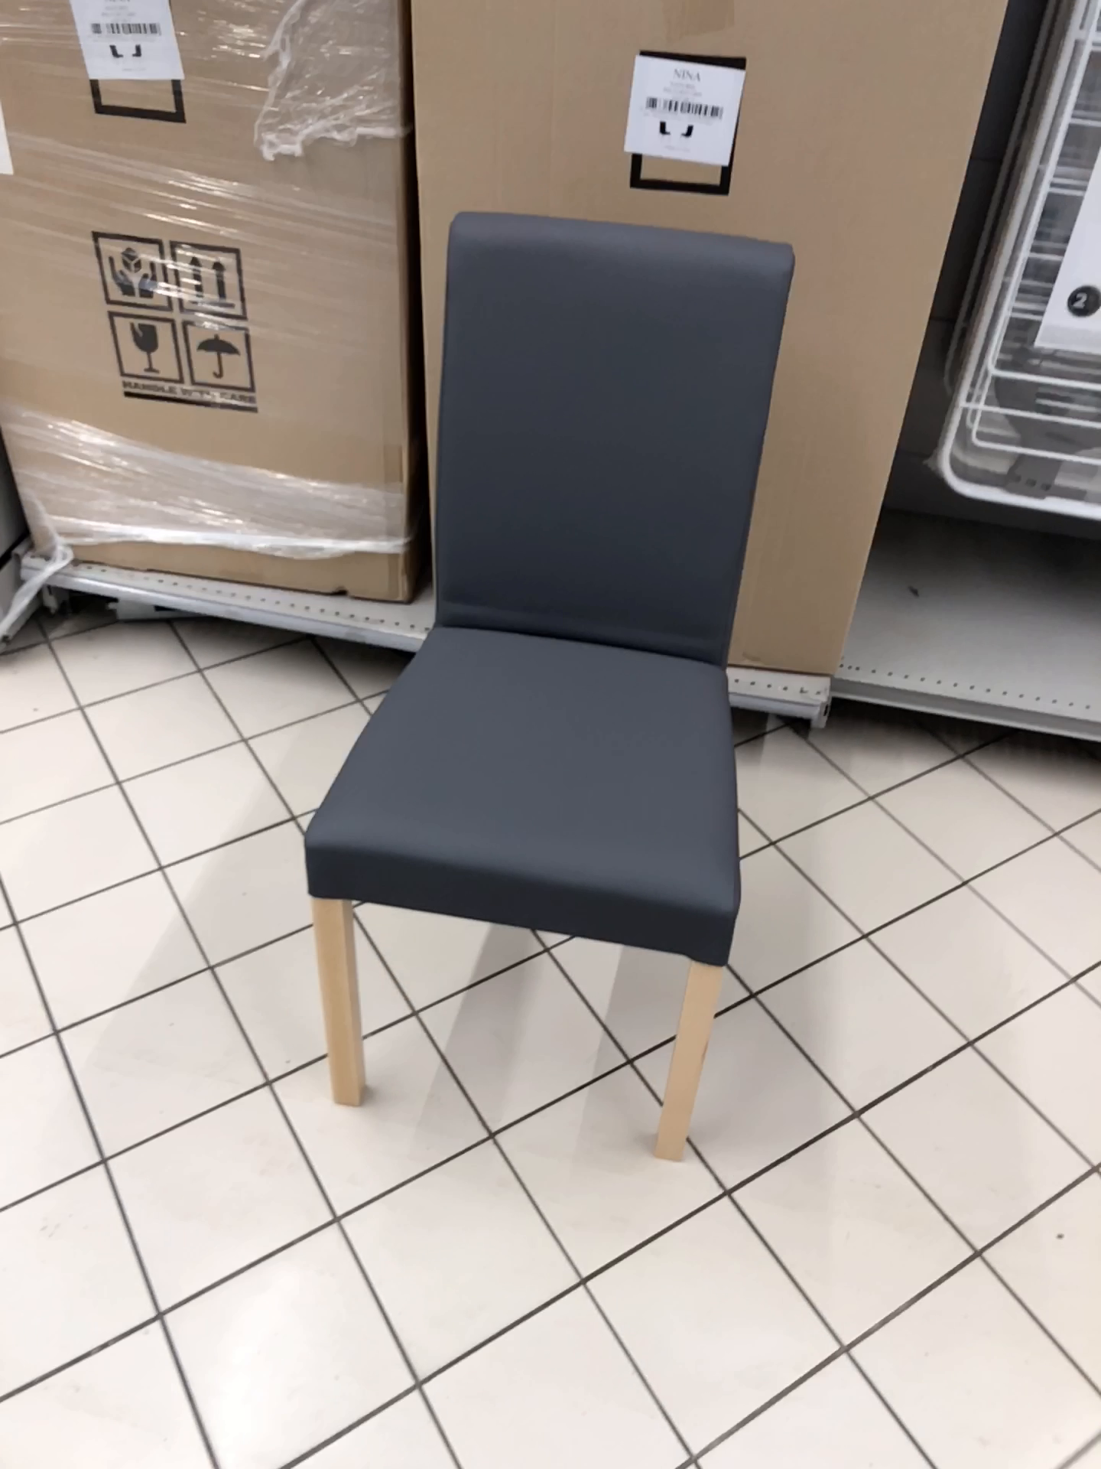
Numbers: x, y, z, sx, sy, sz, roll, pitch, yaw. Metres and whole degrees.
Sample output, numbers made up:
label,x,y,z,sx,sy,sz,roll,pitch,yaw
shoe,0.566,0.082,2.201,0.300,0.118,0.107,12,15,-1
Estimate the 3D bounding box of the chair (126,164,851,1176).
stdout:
label,x,y,z,sx,sy,sz,roll,pitch,yaw
chair,-0.016,-0.050,1.257,0.470,0.825,0.574,7,42,5
